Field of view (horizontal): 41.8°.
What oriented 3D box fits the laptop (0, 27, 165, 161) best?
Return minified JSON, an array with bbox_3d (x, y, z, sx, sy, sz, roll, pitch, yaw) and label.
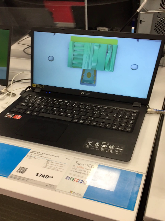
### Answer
[{"bbox_3d":[-0.025,-0.067,0.567,0.382,0.193,0.292,12,42,14],"label":"laptop"}]
